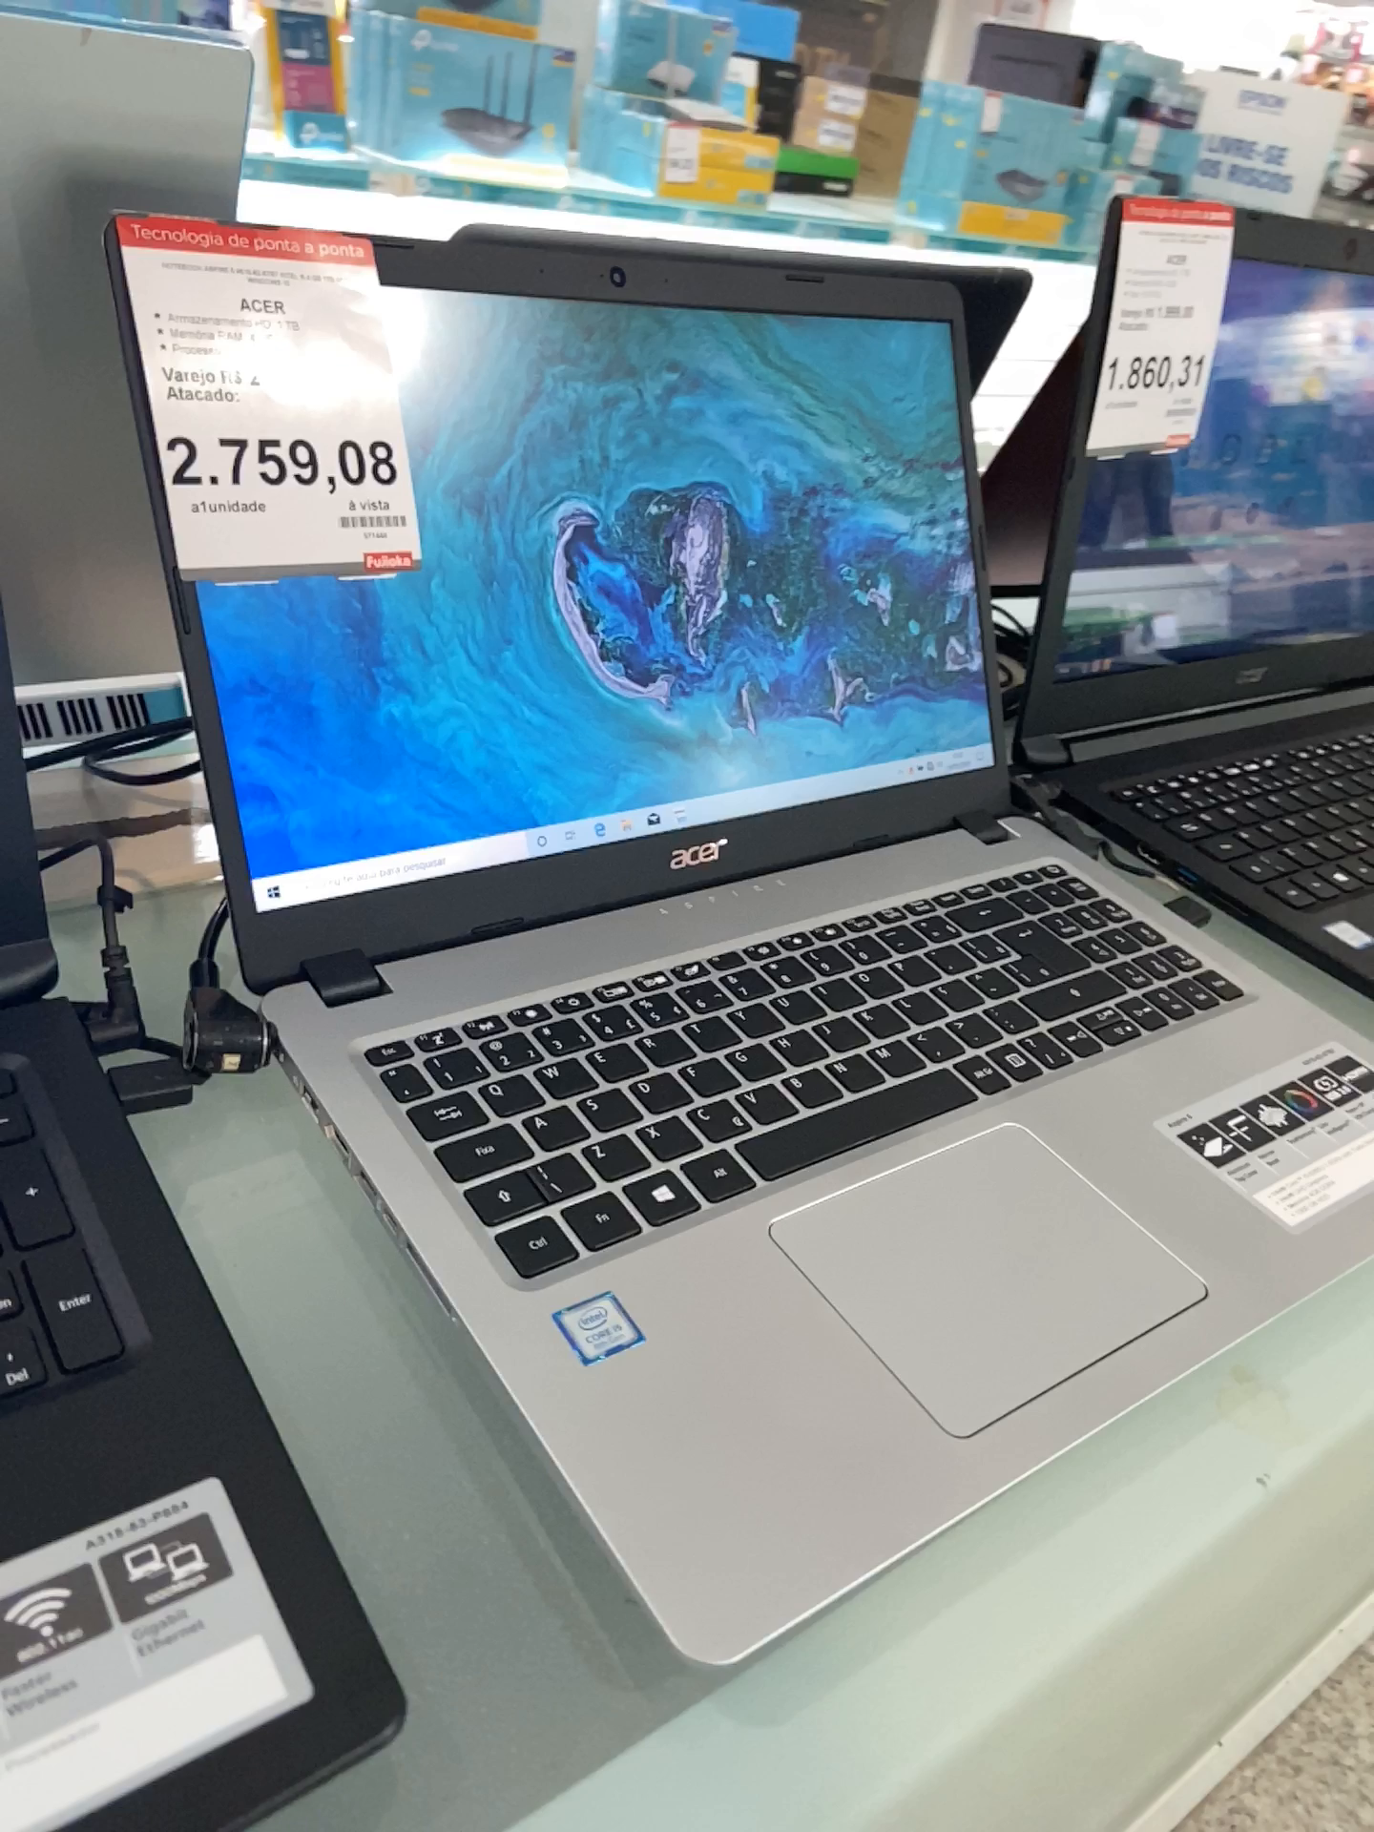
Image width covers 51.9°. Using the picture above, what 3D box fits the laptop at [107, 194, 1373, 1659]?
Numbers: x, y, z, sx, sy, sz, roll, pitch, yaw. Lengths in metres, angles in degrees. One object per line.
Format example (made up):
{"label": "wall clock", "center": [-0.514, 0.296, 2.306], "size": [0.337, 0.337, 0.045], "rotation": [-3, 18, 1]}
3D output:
{"label": "laptop", "center": [0.058, -0.066, 0.446], "size": [0.352, 0.198, 0.363], "rotation": [-13, 39, -34]}
